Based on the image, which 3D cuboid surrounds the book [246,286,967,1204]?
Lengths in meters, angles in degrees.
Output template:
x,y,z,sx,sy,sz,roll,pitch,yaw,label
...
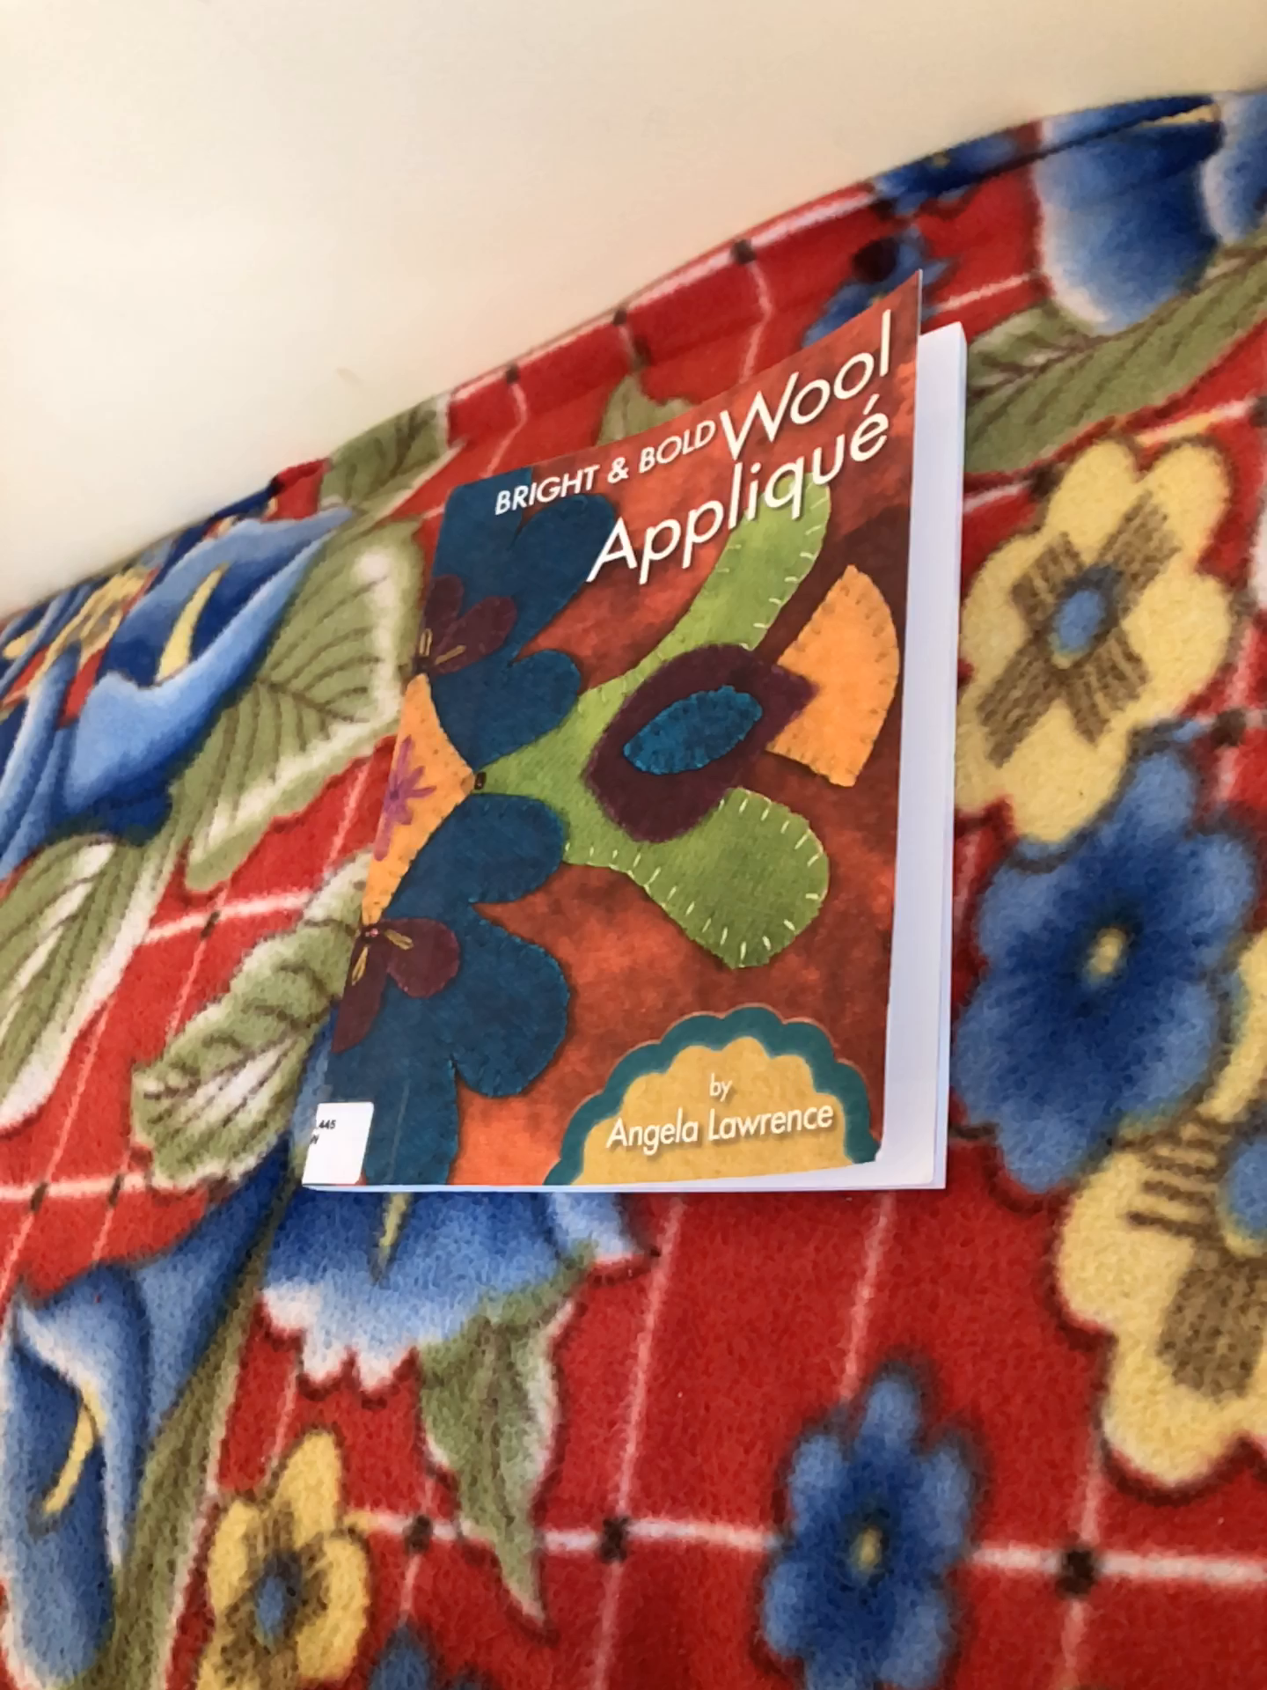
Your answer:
x,y,z,sx,sy,sz,roll,pitch,yaw,label
-0.008,-0.026,0.431,0.221,0.020,0.264,-11,60,34,book
